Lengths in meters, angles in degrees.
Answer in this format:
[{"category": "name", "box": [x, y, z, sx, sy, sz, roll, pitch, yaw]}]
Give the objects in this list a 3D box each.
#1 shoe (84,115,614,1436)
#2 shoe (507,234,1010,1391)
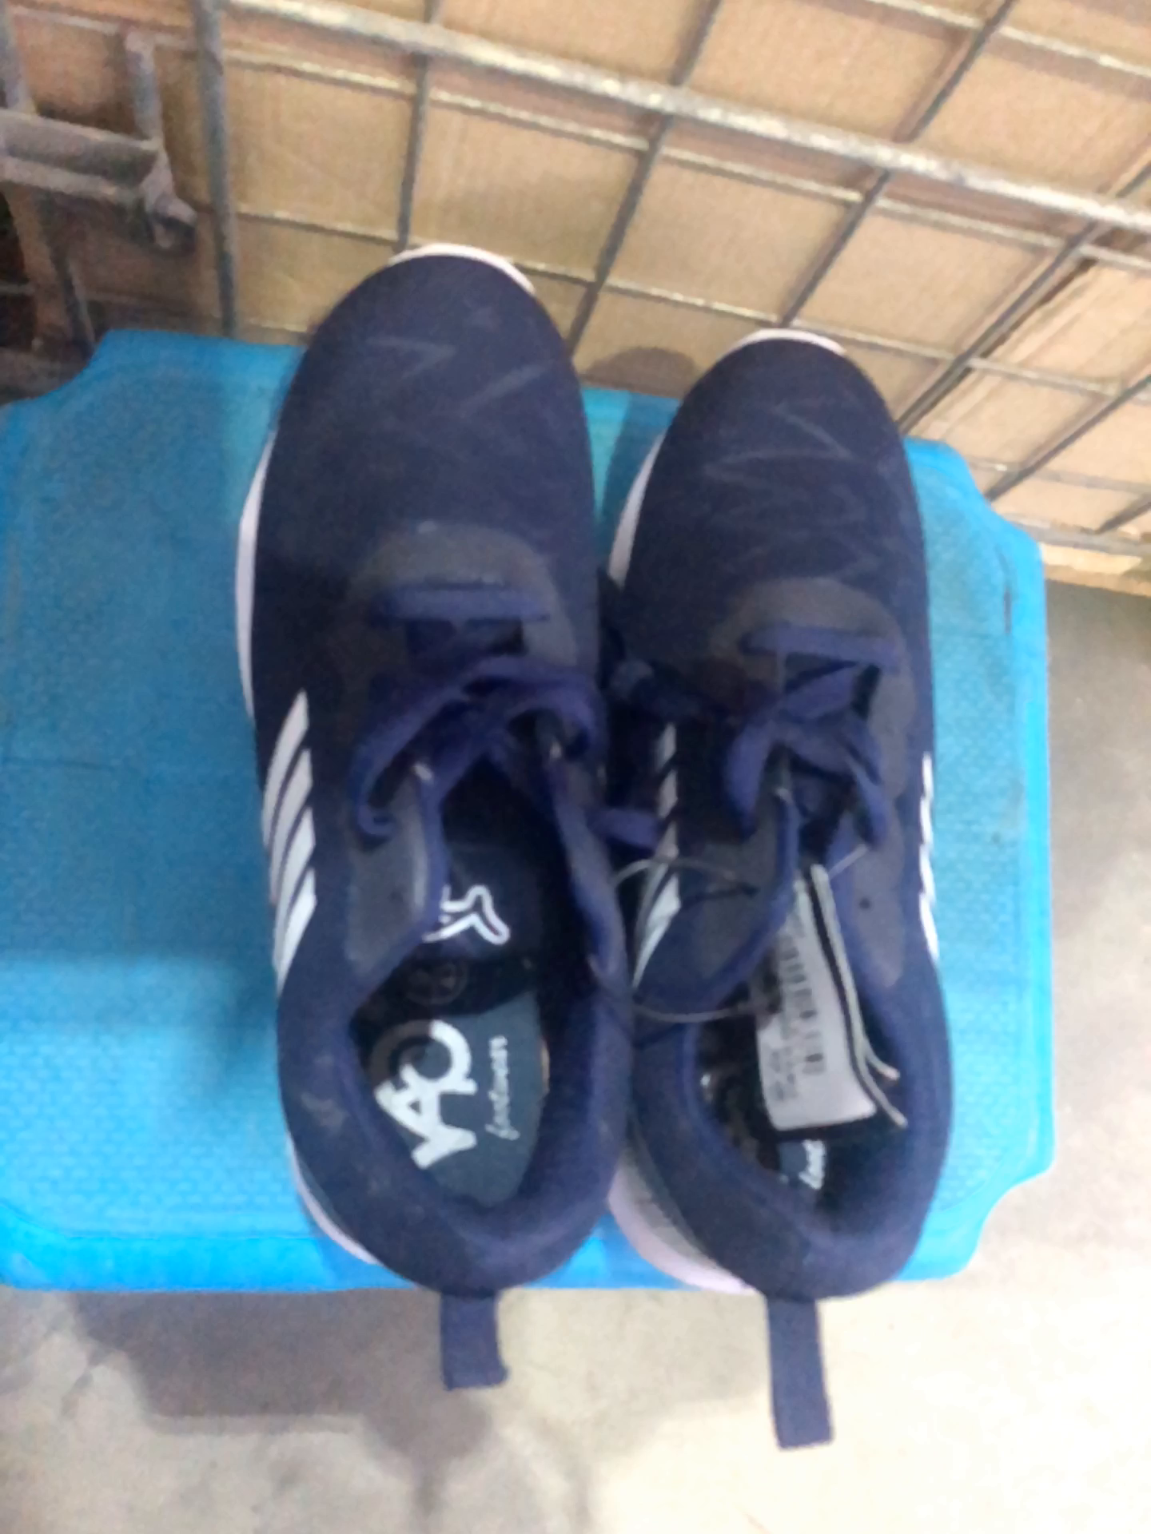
[{"category": "shoe", "box": [-0.052, -0.001, 0.311, 0.100, 0.100, 0.270, 2, 80, -13]}, {"category": "shoe", "box": [0.042, 0.010, 0.348, 0.100, 0.100, 0.270, 3, 80, -12]}]
